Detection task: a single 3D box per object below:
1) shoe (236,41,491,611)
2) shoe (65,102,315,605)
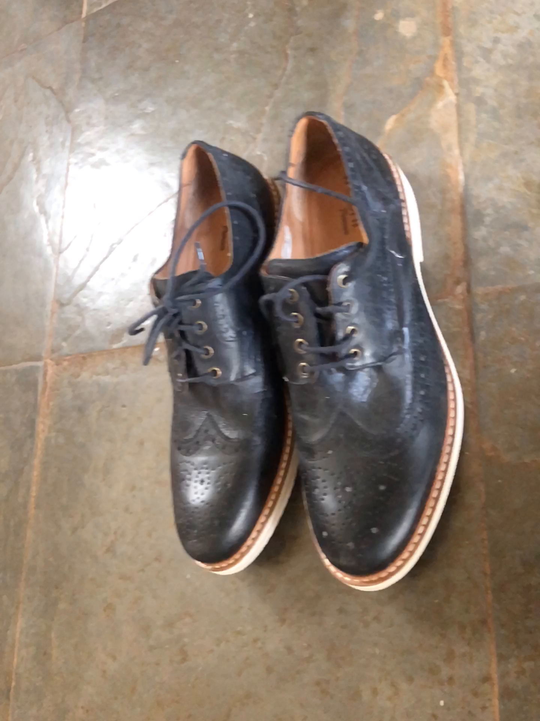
[{"bbox_3d":[0.053,-0.018,0.367,0.110,0.100,0.301,-9,73,29],"label":"shoe"},{"bbox_3d":[-0.044,-0.003,0.403,0.110,0.100,0.290,-6,75,29],"label":"shoe"}]
